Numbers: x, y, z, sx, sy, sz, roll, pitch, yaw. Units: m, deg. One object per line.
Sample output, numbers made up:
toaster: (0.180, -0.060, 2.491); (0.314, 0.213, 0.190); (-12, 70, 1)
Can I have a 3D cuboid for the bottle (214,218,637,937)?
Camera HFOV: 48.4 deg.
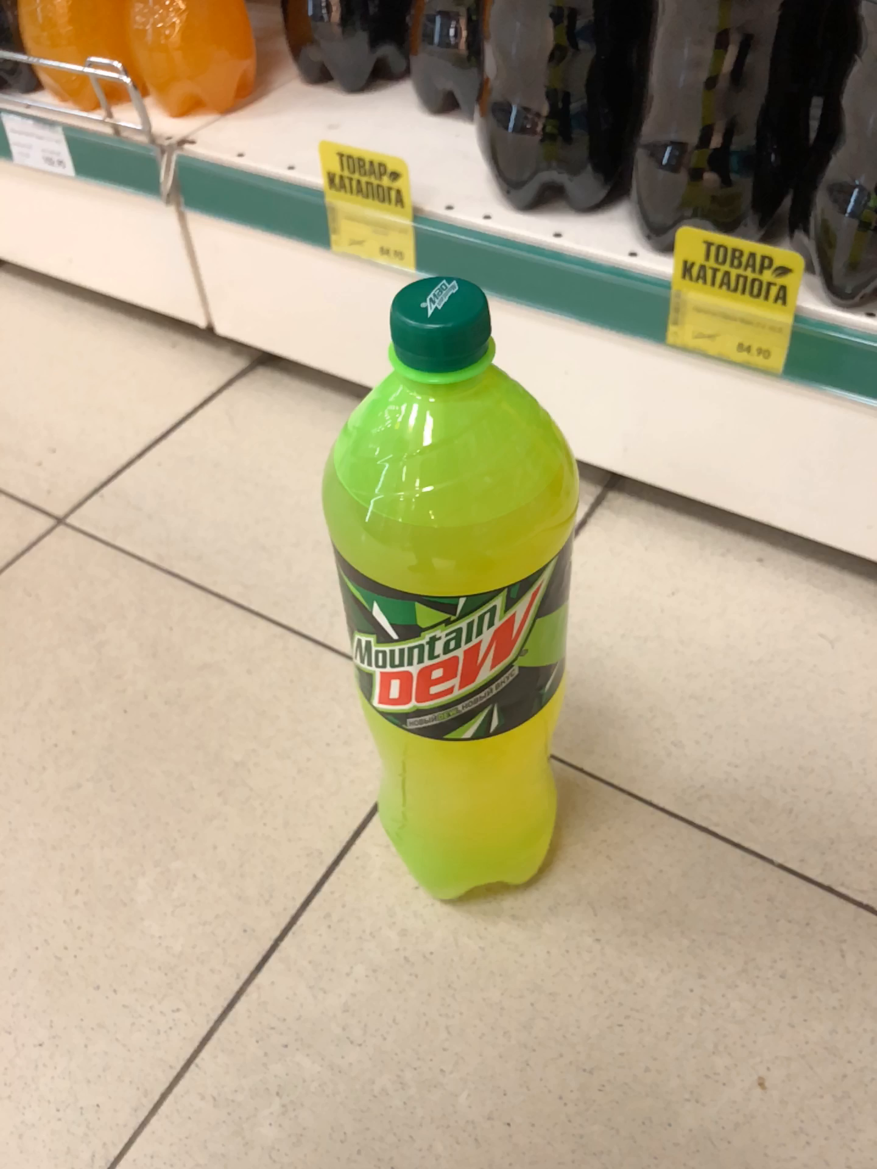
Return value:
bottle: (0.008, 0.020, 0.399); (0.095, 0.294, 0.100); (-2, 47, 2)
